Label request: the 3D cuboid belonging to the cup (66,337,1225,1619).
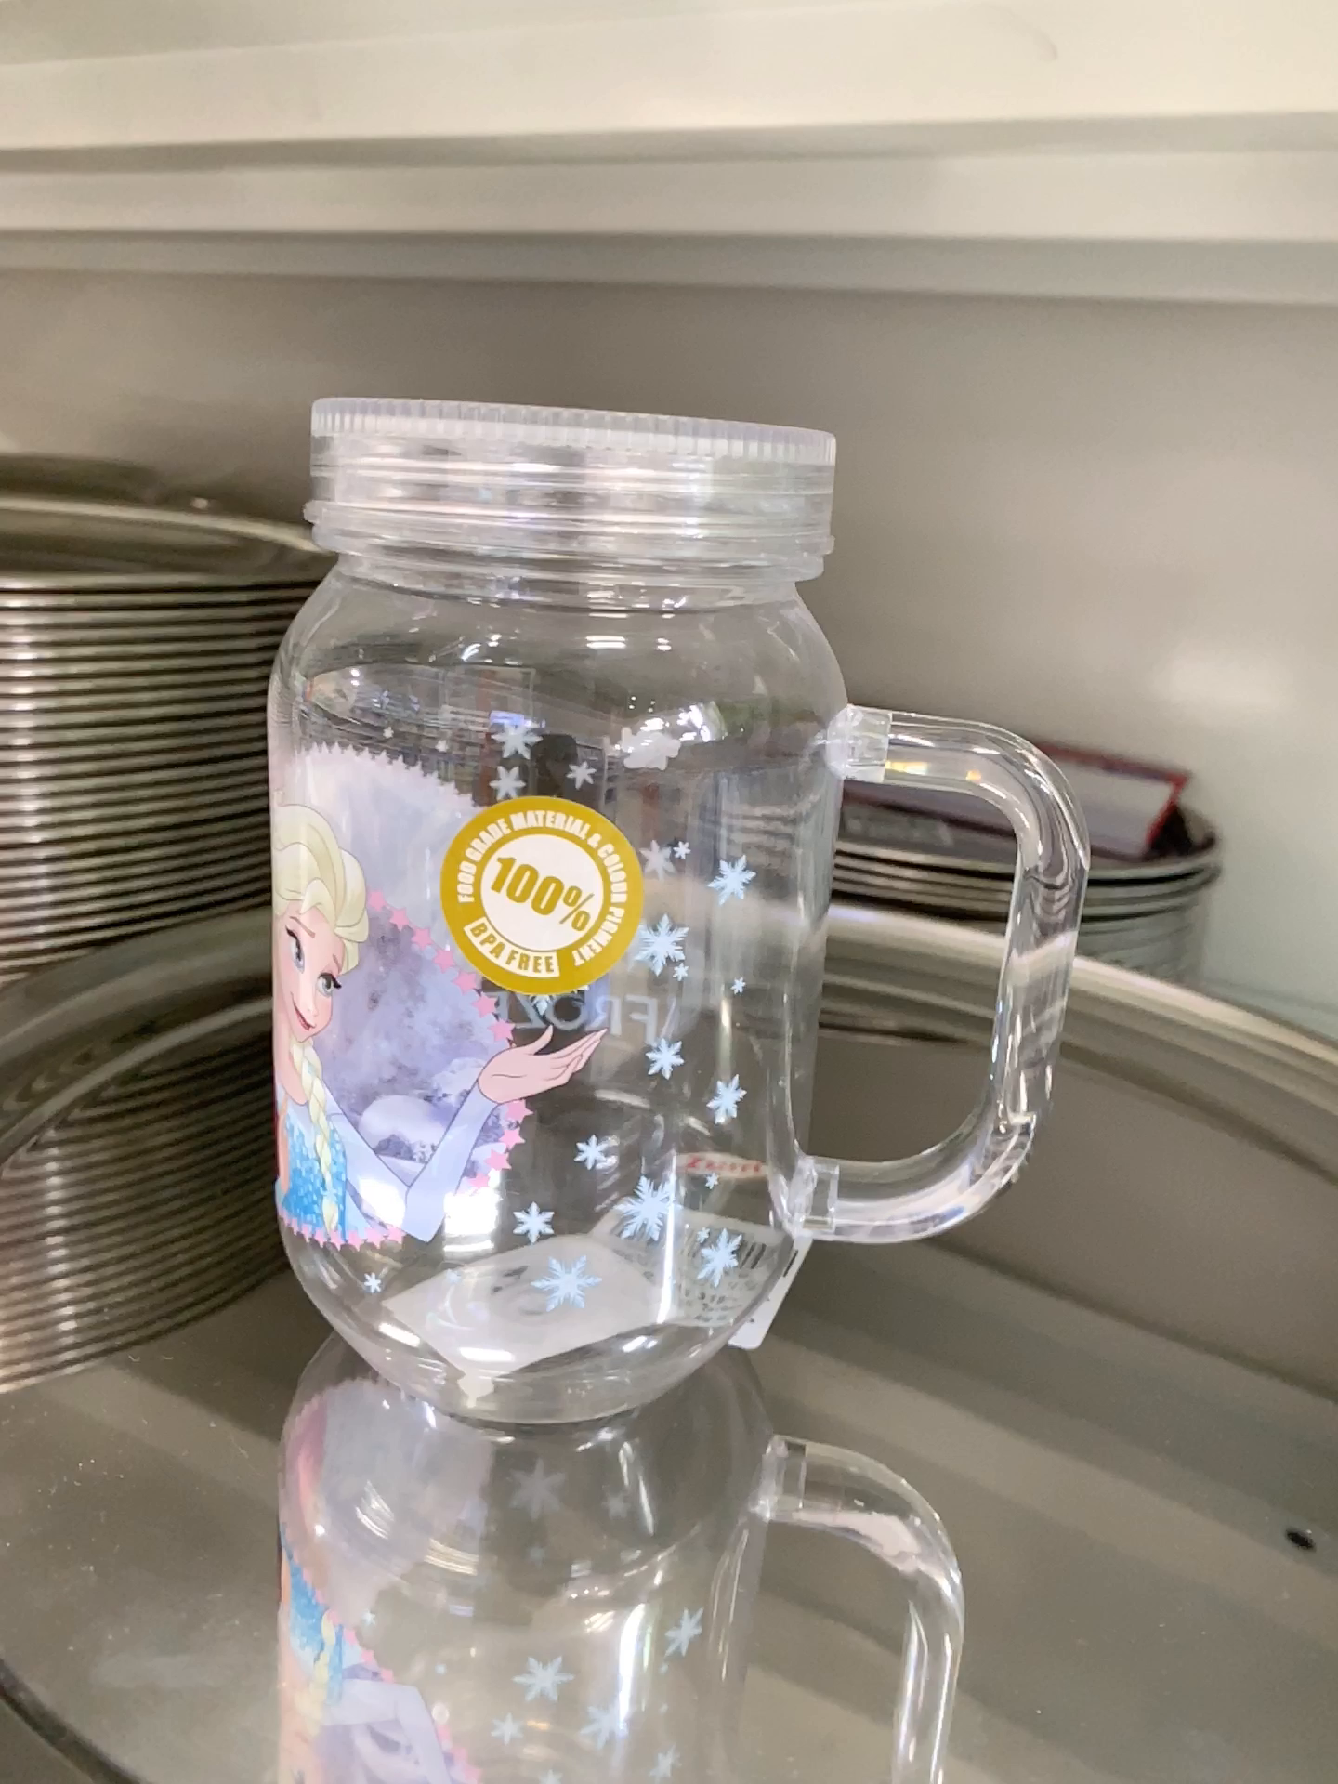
[{"bbox_3d":[-0.004,0.002,0.189,0.120,0.129,0.070,9,17,14],"label":"cup"}]
